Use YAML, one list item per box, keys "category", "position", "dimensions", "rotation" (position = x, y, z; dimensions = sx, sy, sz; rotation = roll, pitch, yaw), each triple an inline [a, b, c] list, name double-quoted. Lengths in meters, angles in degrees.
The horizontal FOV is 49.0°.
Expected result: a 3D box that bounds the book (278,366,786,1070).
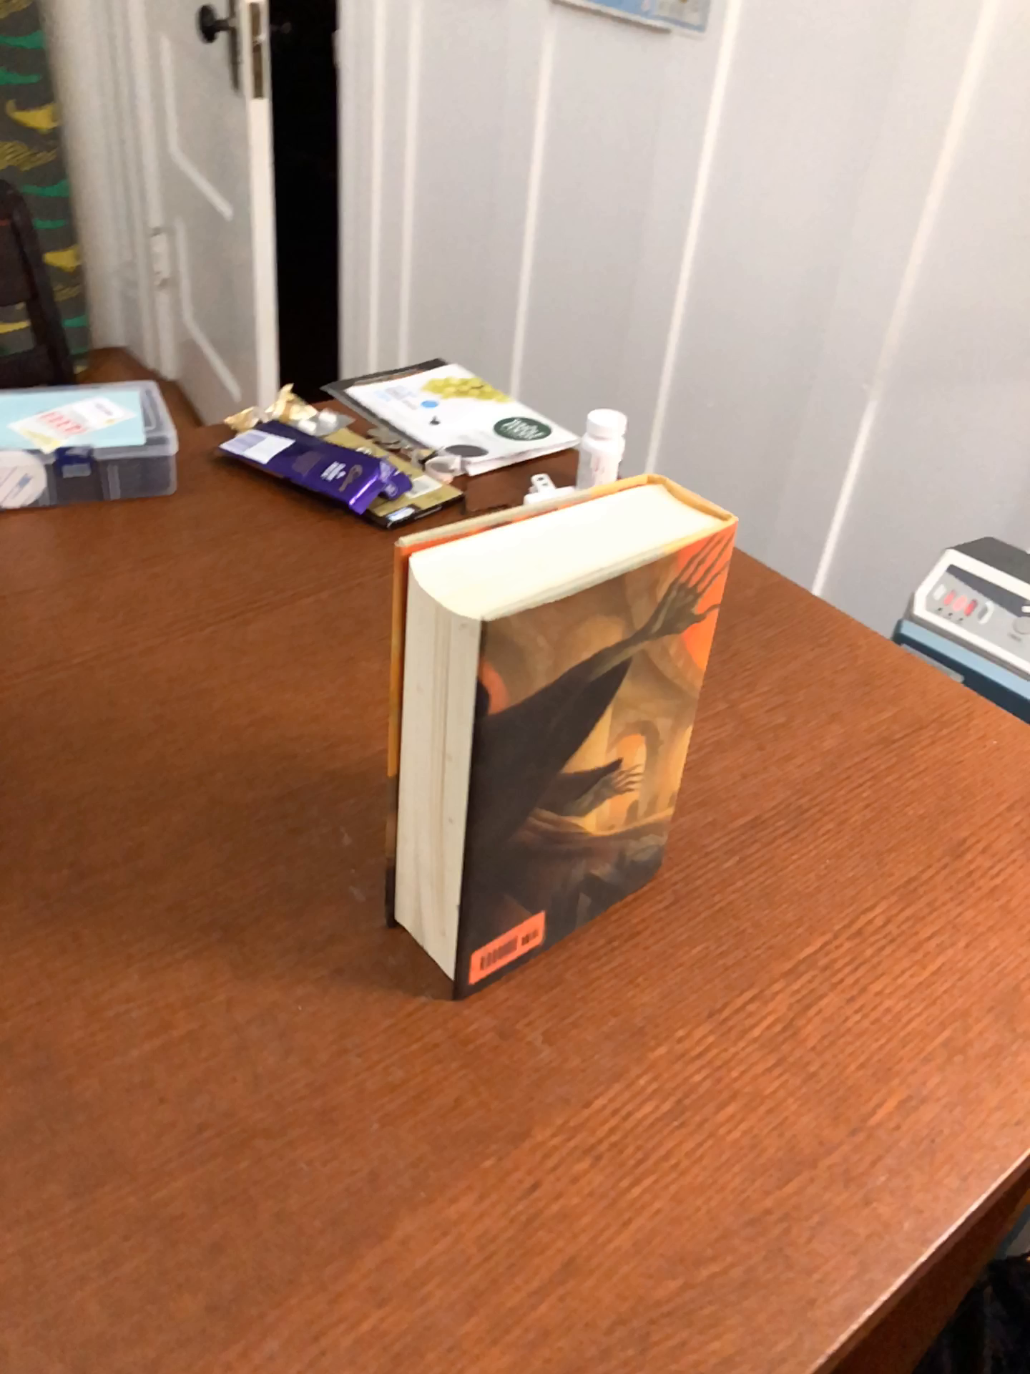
- category: "book"
  position: [0.002, 0.018, 0.548]
  dimensions: [0.211, 0.298, 0.070]
  rotation: [-21, 44, -32]
